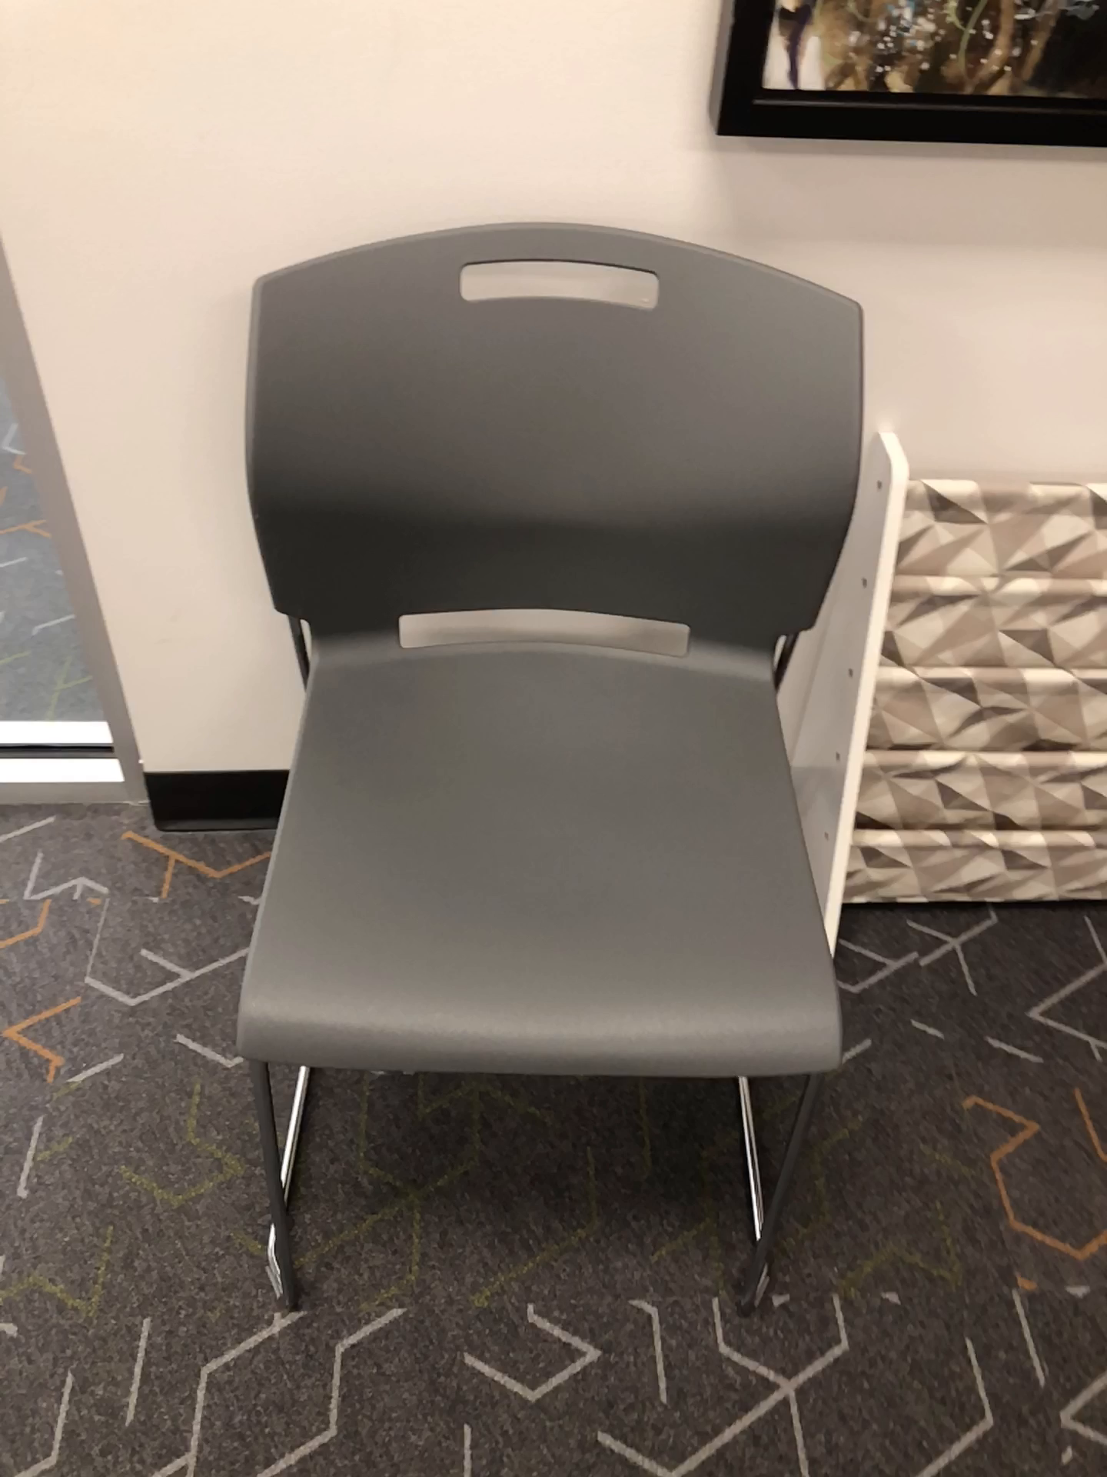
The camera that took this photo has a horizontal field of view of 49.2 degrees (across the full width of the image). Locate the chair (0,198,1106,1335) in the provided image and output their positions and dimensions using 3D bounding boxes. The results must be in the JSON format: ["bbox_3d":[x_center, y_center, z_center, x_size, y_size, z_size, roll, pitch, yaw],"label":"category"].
[{"bbox_3d":[-0.013,0.038,1.073,0.580,0.735,0.674,1,45,-3],"label":"chair"}]
